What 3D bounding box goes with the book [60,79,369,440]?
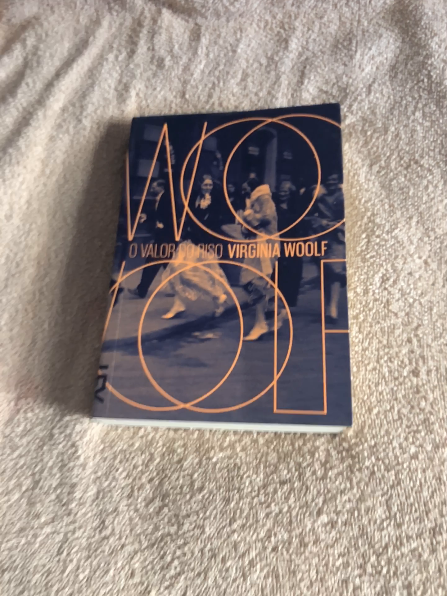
[{"bbox_3d":[0.000,-0.024,0.278,0.140,0.050,0.190,1,73,5],"label":"book"}]
